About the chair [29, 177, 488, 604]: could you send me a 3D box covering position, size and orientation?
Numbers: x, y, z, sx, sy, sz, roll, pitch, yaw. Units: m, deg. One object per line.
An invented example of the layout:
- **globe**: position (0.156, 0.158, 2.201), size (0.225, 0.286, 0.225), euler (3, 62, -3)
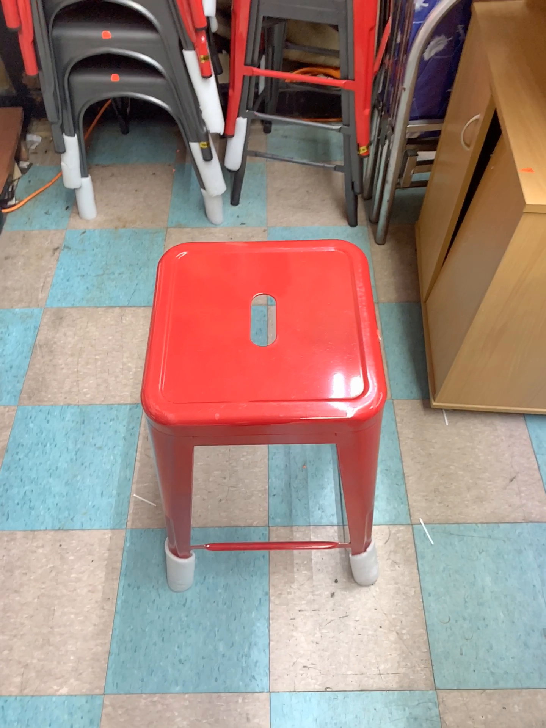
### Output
- **chair**: position (-0.010, 0.096, 0.900), size (0.438, 0.599, 0.435), euler (-2, 57, 1)
